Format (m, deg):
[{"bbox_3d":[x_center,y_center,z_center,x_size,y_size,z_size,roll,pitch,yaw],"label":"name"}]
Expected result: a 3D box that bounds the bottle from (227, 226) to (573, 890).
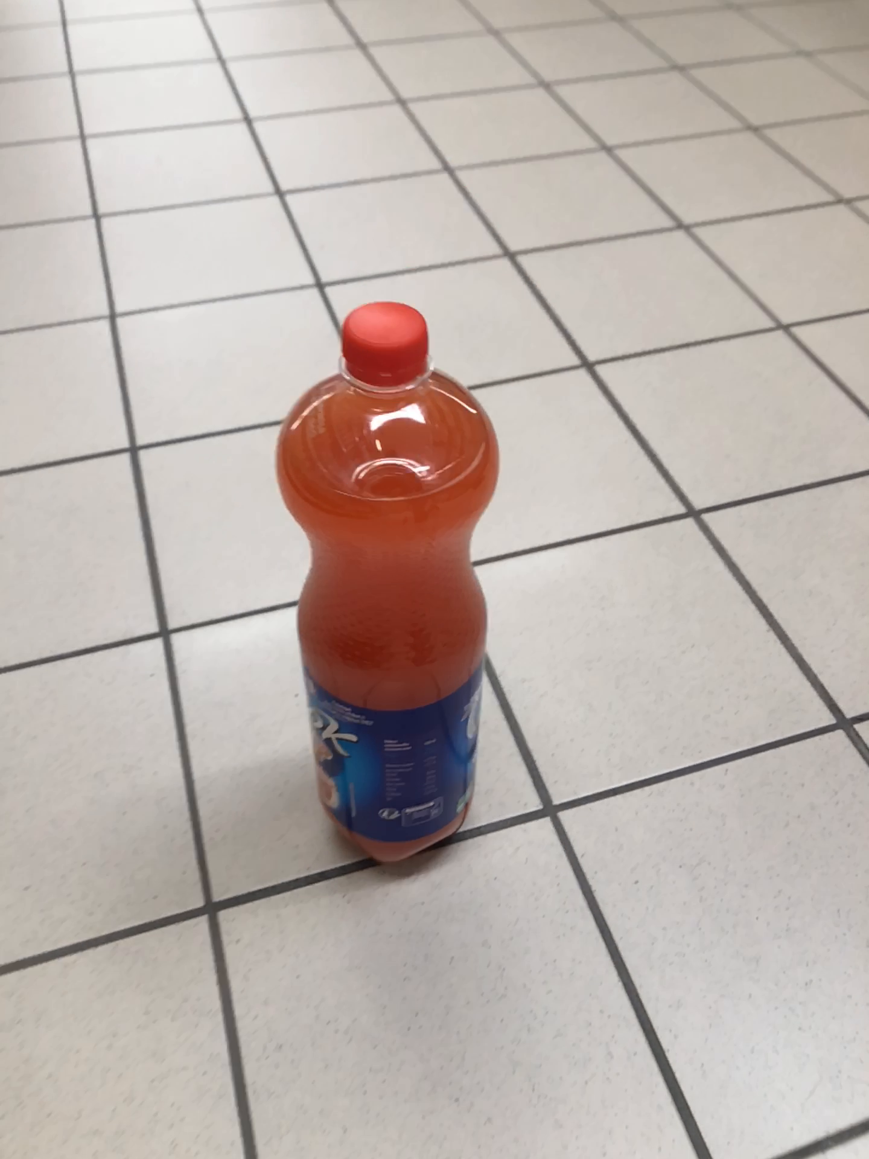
[{"bbox_3d":[-0.019,0.013,0.445,0.100,0.308,0.111,-9,48,-9],"label":"bottle"}]
